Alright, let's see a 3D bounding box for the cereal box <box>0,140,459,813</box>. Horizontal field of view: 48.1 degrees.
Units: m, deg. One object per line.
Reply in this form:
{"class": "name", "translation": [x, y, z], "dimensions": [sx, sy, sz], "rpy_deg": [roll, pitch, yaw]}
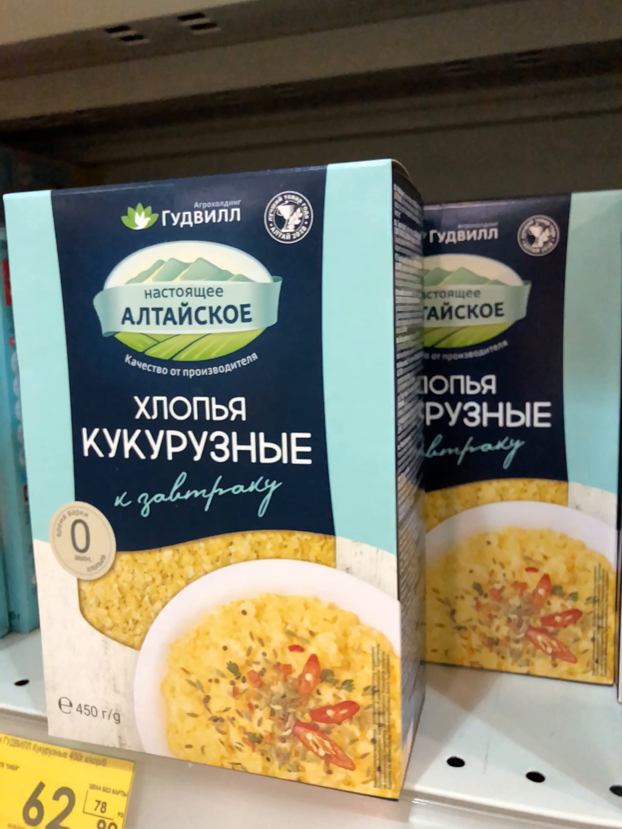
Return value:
{"class": "cereal box", "translation": [-0.023, 0.018, 0.241], "dimensions": [0.140, 0.190, 0.060], "rpy_deg": [1, 8, 16]}
